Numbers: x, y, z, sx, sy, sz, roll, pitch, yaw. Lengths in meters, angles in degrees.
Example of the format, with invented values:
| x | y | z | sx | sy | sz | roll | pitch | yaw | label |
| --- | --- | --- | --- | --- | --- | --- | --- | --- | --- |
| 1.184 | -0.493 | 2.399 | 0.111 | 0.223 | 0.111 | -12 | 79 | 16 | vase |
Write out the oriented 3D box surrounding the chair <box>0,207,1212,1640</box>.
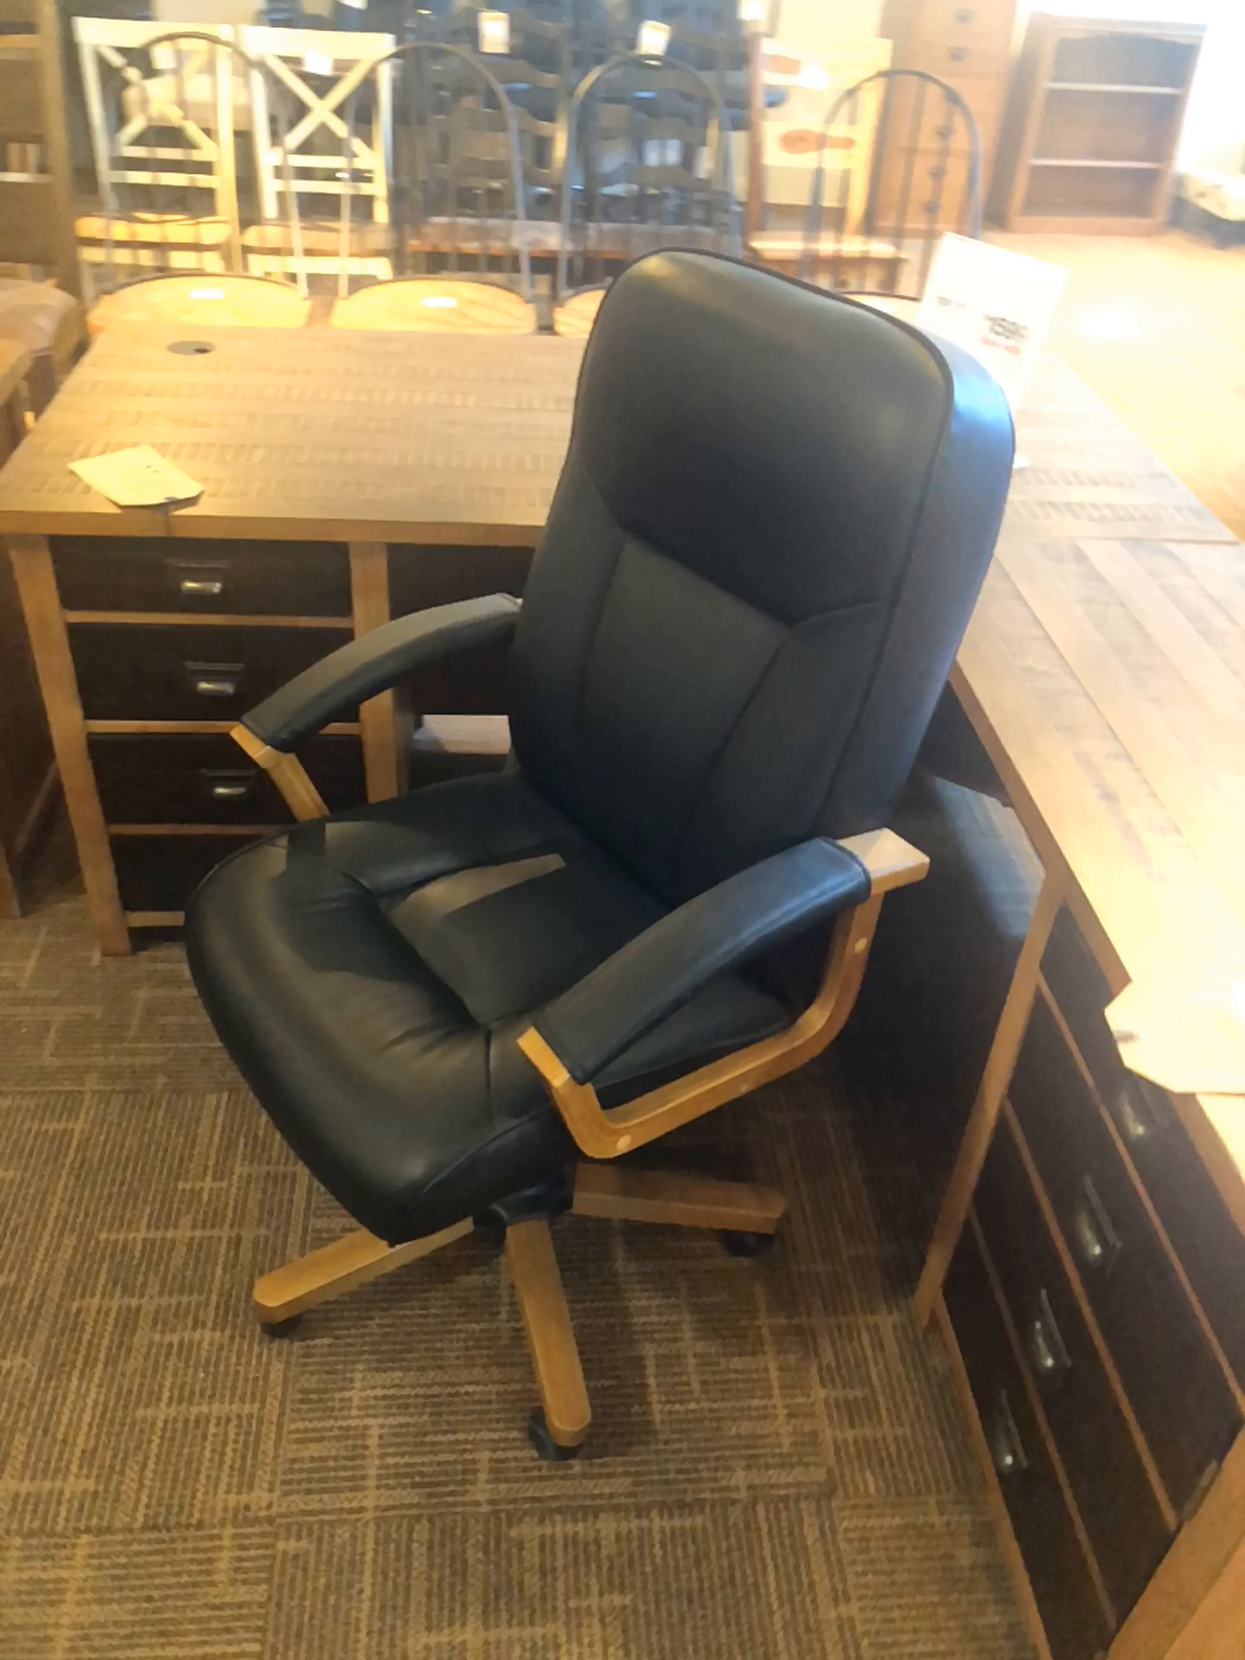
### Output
| x | y | z | sx | sy | sz | roll | pitch | yaw | label |
| --- | --- | --- | --- | --- | --- | --- | --- | --- | --- |
| -0.097 | 0.049 | 1.427 | 0.743 | 1.104 | 0.740 | -18 | 41 | -27 | chair |
